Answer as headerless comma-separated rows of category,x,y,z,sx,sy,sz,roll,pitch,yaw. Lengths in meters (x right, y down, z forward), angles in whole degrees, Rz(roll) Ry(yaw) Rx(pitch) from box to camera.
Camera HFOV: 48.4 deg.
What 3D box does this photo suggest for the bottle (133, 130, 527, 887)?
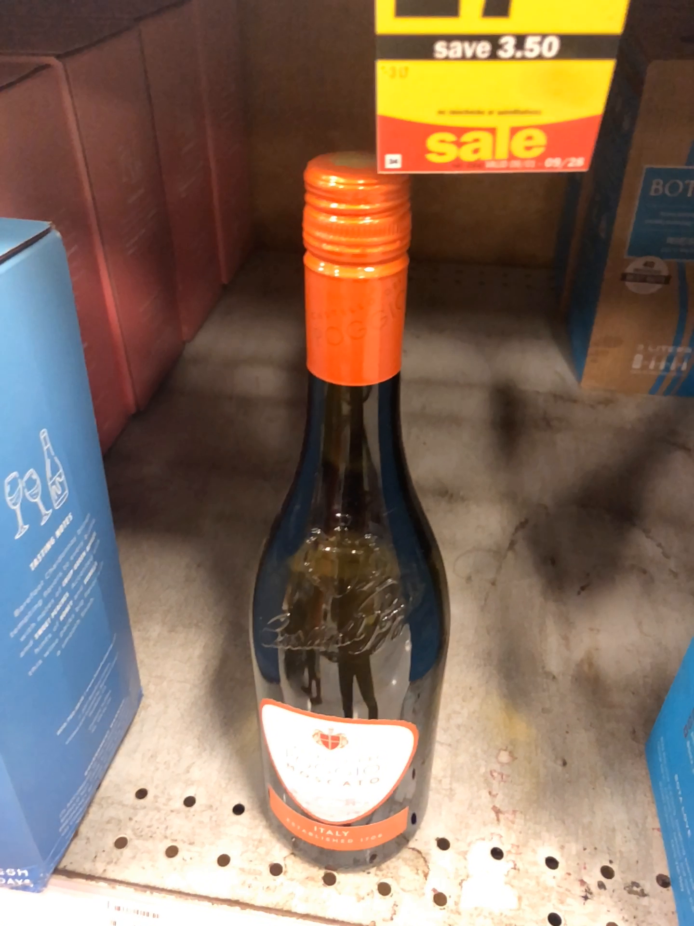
bottle,0.001,0.049,0.278,0.080,0.299,0.070,4,40,6
